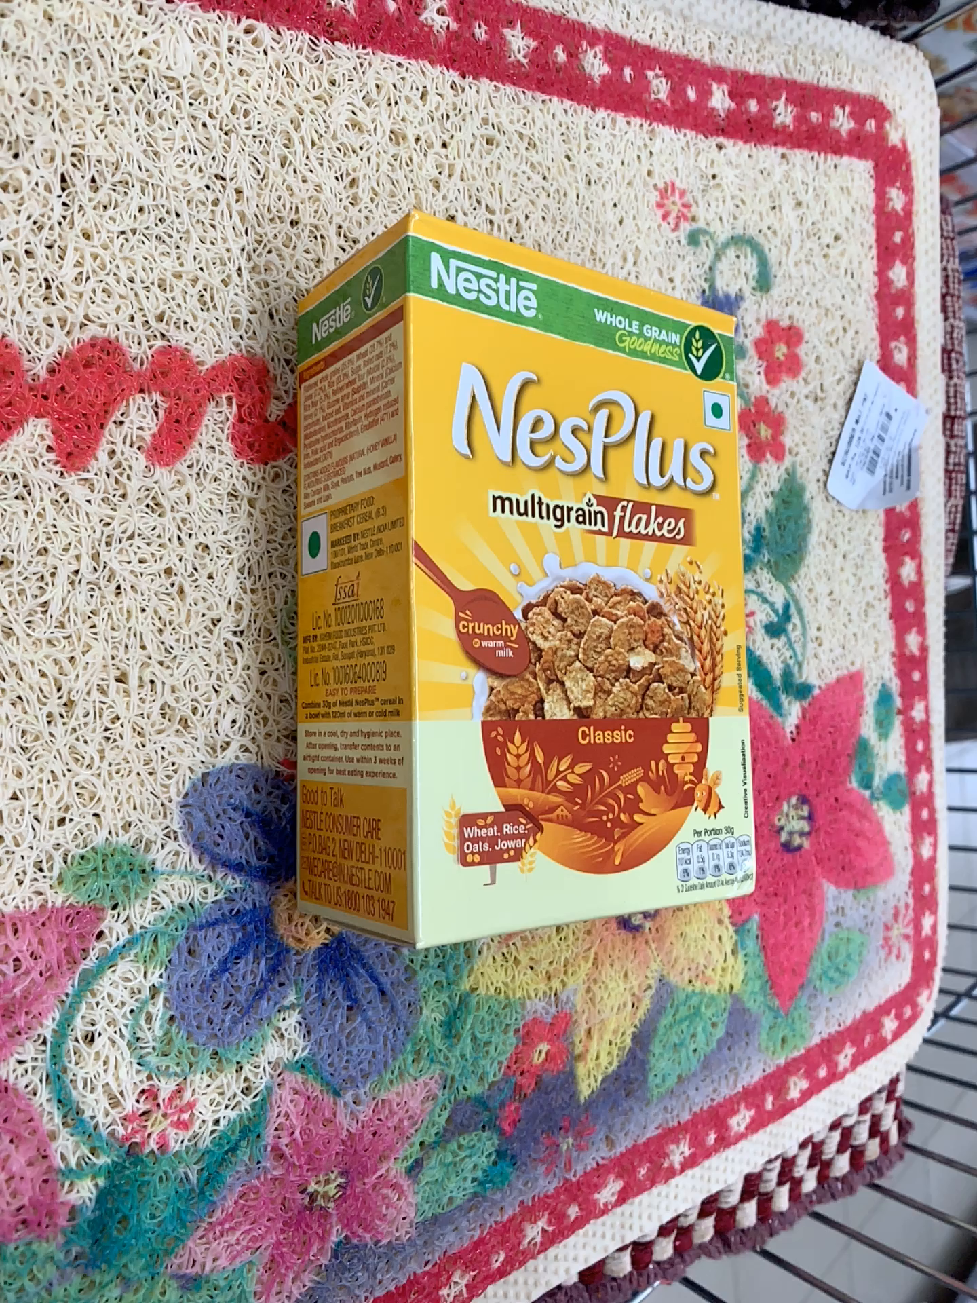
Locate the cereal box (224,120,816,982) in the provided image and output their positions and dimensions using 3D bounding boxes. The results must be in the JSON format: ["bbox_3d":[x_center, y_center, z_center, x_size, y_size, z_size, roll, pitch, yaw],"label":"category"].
[{"bbox_3d":[0.012,-0.016,0.227,0.131,0.040,0.150,3,84,-34],"label":"cereal box"}]
